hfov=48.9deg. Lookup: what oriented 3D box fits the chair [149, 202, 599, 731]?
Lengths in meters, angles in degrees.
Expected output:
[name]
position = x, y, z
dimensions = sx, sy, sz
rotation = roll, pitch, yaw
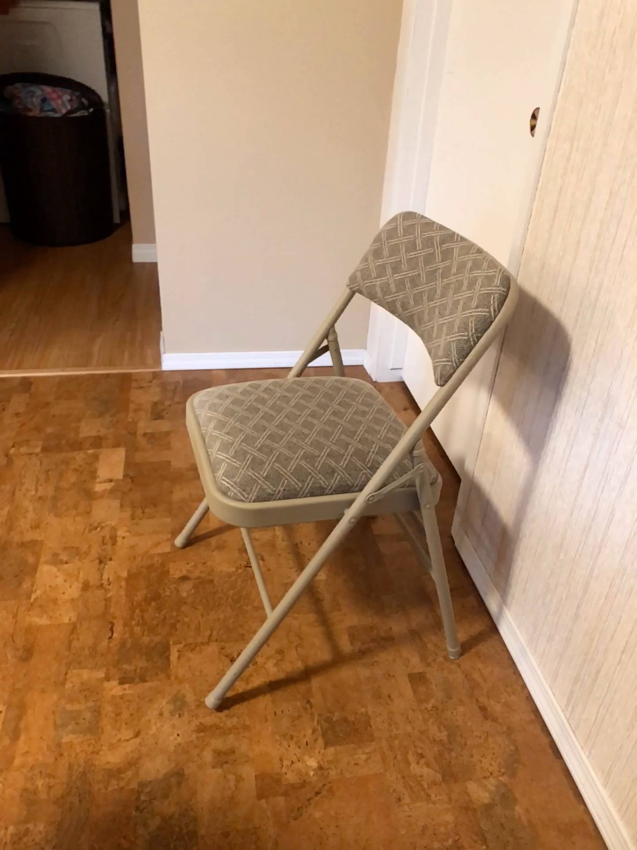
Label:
[chair]
position = 0.026, 0.048, 1.285
dimensions = 0.560, 0.757, 0.492
rotation = -7, 33, -16
